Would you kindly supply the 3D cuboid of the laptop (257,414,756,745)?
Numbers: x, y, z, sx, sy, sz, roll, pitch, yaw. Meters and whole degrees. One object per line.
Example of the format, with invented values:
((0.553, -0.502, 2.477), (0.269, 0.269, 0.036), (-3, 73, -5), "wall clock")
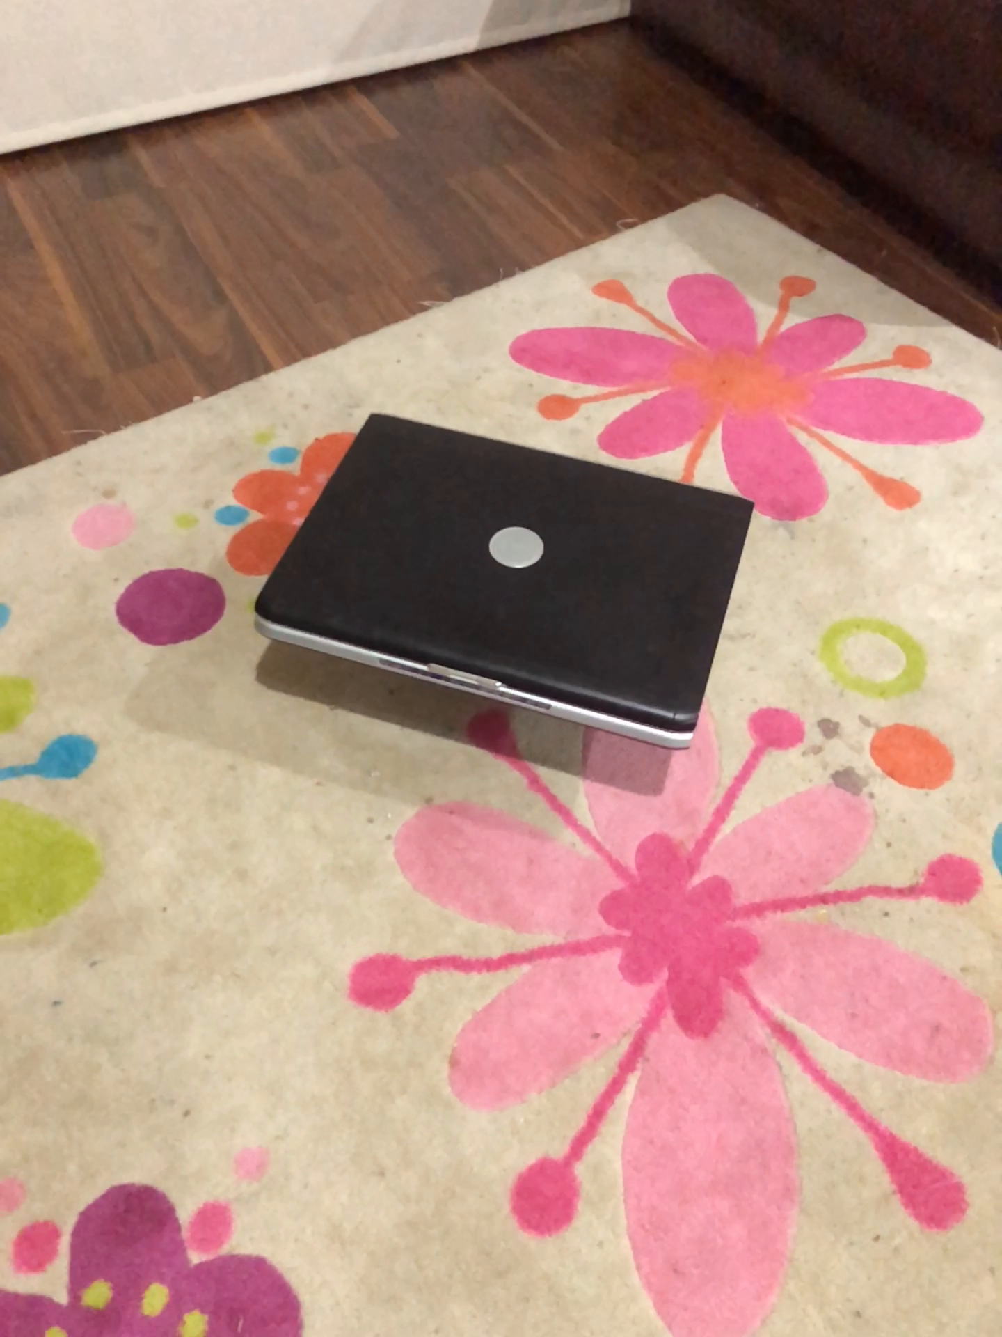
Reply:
((0.009, -0.087, 0.895), (0.353, 0.015, 0.233), (15, 57, 13), "laptop")
